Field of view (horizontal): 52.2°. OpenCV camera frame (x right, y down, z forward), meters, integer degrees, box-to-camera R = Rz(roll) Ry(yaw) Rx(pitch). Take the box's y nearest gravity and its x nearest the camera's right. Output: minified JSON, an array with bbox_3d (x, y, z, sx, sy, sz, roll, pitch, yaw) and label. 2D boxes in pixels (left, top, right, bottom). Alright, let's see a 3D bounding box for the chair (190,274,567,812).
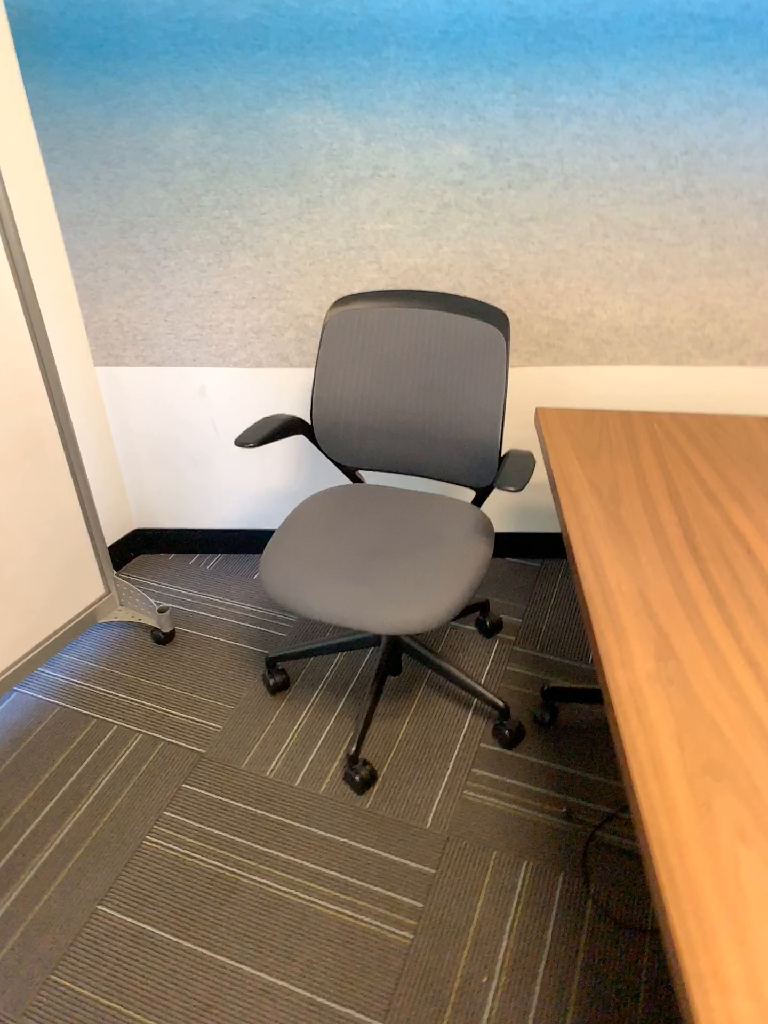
[{"bbox_3d":[0.016,0.048,1.709,0.541,0.935,0.532,13,34,20],"label":"chair"}]
